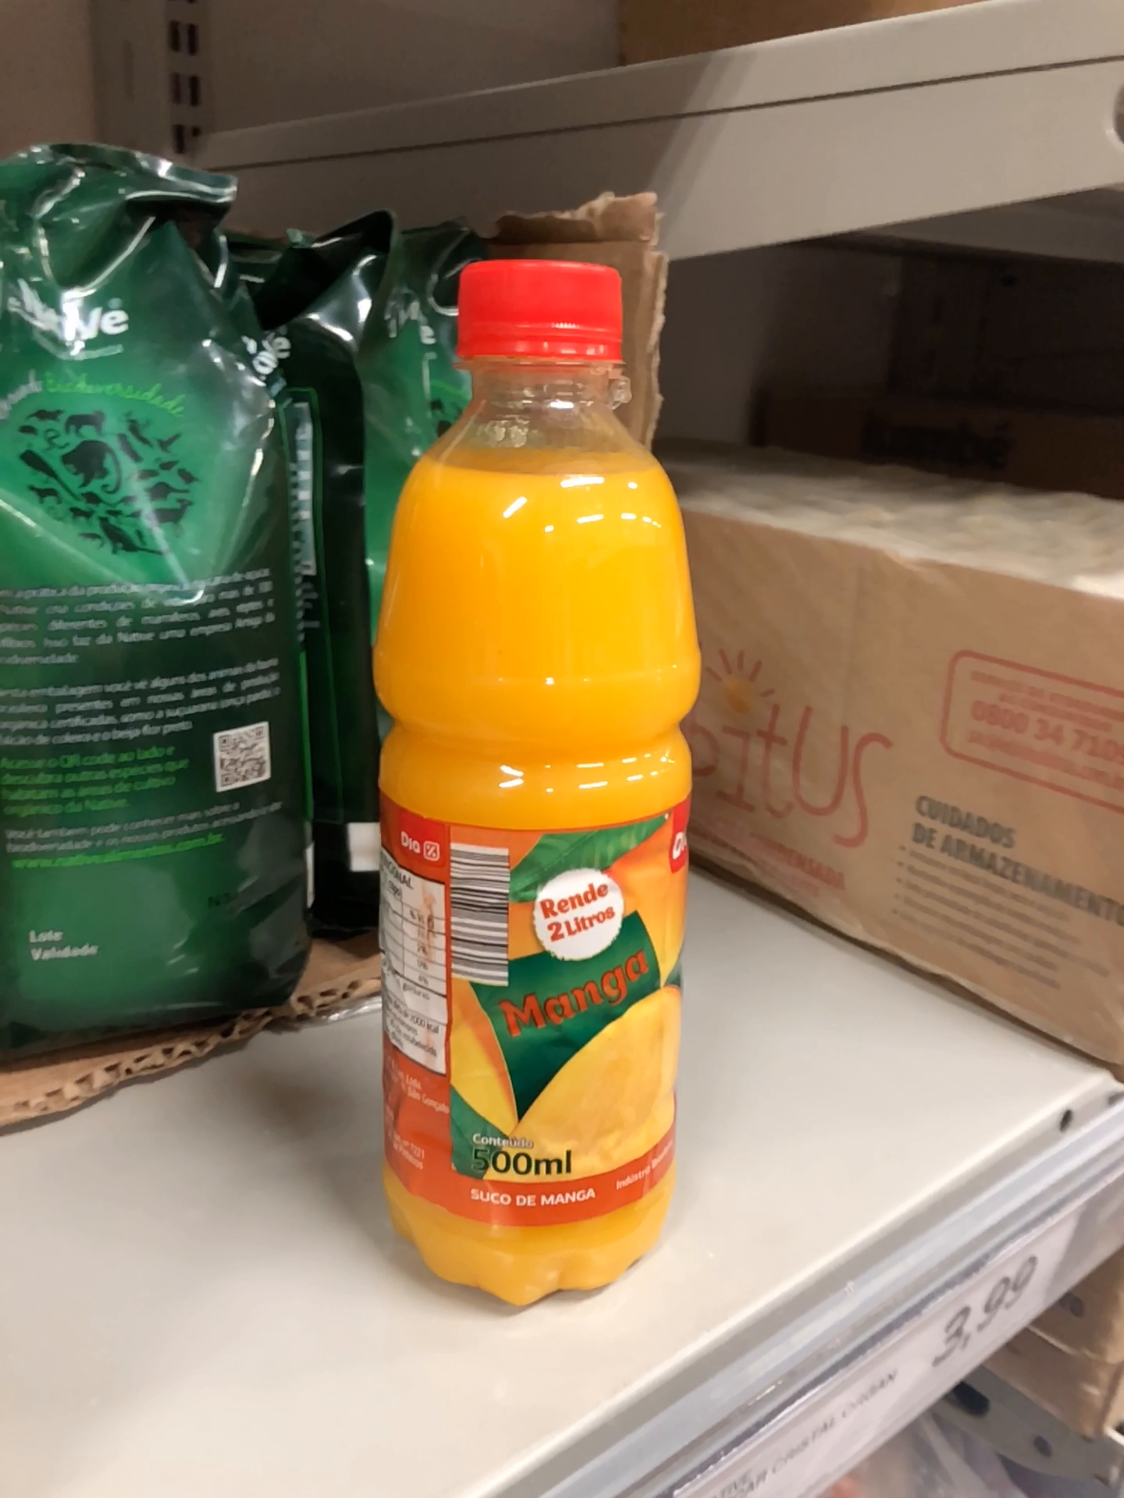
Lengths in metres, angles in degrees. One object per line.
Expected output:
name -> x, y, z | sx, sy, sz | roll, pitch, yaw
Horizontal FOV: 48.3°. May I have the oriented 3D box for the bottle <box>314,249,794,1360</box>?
bottle -> -0.006, 0.011, 0.249 | 0.070, 0.199, 0.060 | -4, 18, -16
